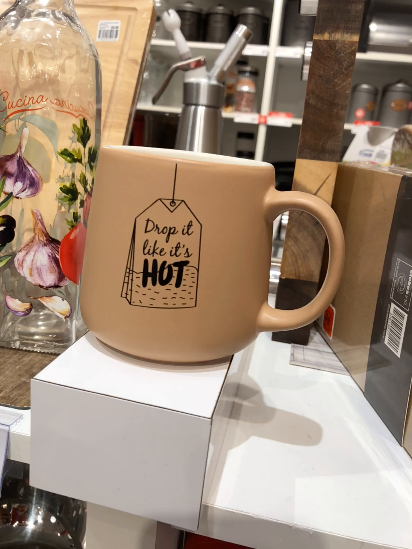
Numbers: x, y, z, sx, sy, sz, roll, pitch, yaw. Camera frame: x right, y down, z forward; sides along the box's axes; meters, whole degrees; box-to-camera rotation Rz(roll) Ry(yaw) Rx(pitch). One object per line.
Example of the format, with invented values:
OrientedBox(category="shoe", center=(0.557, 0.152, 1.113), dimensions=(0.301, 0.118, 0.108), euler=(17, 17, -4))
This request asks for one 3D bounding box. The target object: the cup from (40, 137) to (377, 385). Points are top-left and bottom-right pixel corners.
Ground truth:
OrientedBox(category="cup", center=(-0.004, -0.014, 0.205), dimensions=(0.110, 0.080, 0.090), euler=(5, 16, -4))
